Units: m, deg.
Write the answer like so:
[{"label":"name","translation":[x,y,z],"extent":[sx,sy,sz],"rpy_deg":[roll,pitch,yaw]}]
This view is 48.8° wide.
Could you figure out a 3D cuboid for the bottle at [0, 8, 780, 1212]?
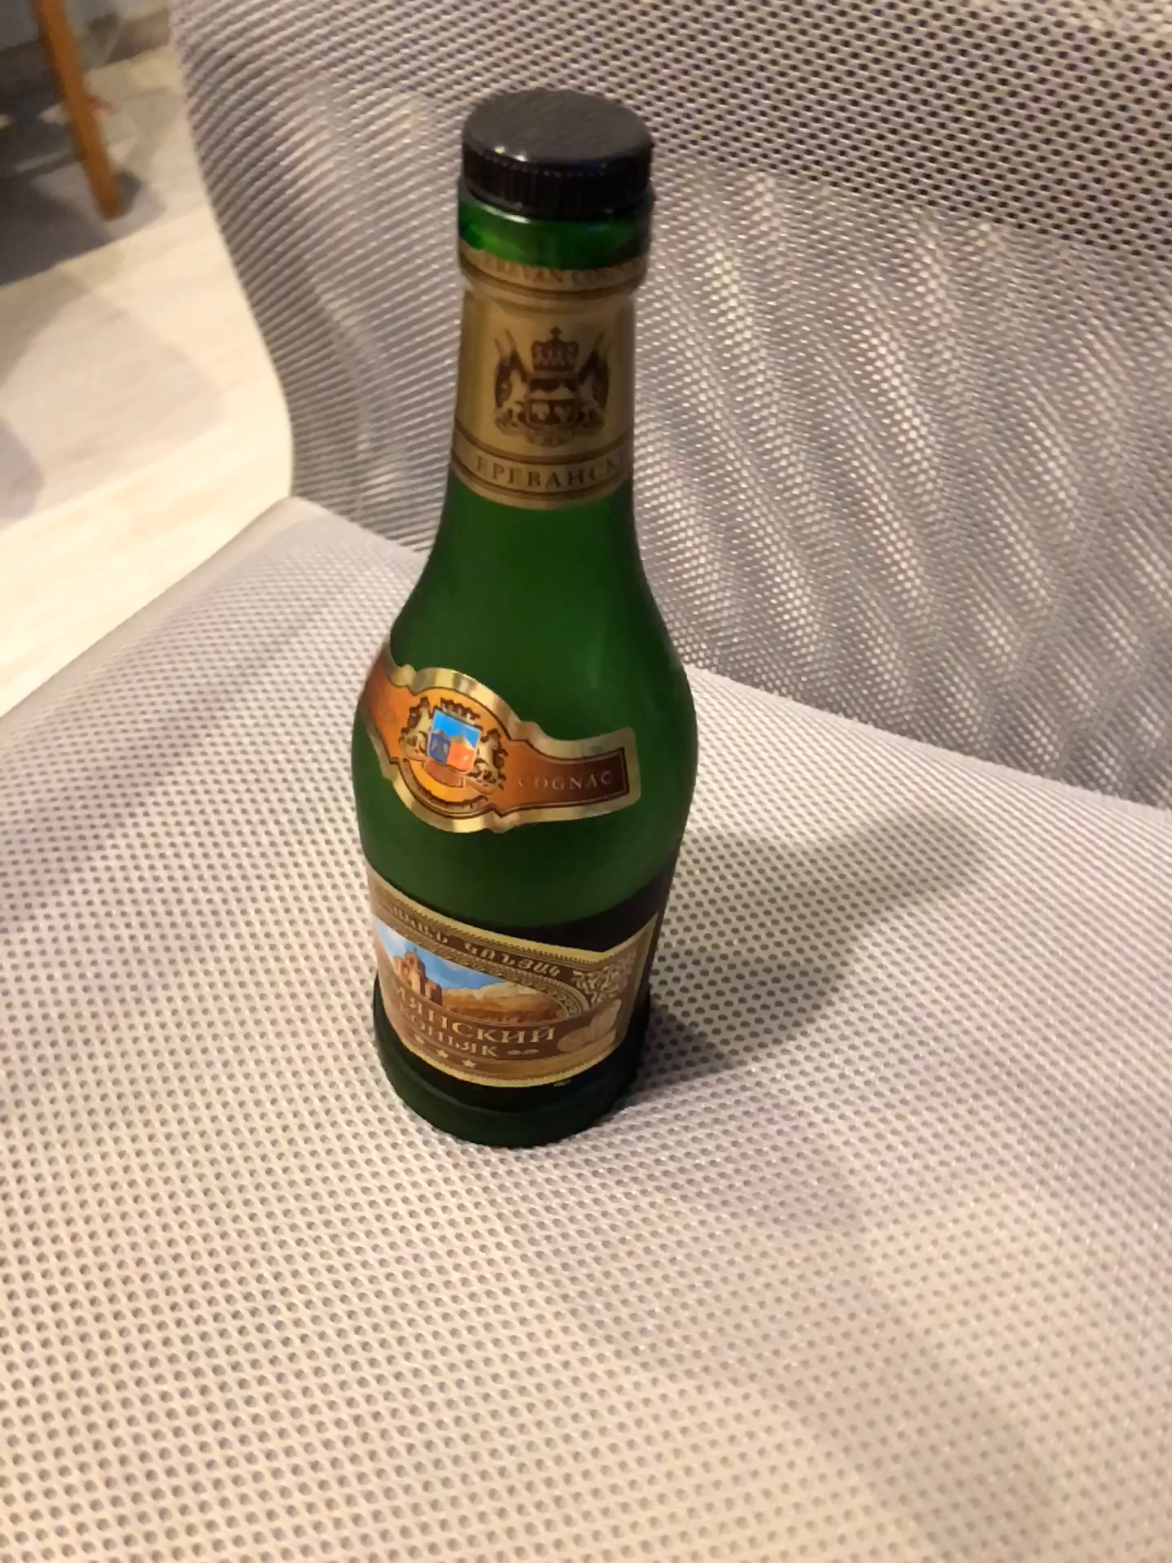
[{"label":"bottle","translation":[-0.023,-0.009,0.267],"extent":[0.078,0.238,0.075],"rpy_deg":[-1,50,1]}]
